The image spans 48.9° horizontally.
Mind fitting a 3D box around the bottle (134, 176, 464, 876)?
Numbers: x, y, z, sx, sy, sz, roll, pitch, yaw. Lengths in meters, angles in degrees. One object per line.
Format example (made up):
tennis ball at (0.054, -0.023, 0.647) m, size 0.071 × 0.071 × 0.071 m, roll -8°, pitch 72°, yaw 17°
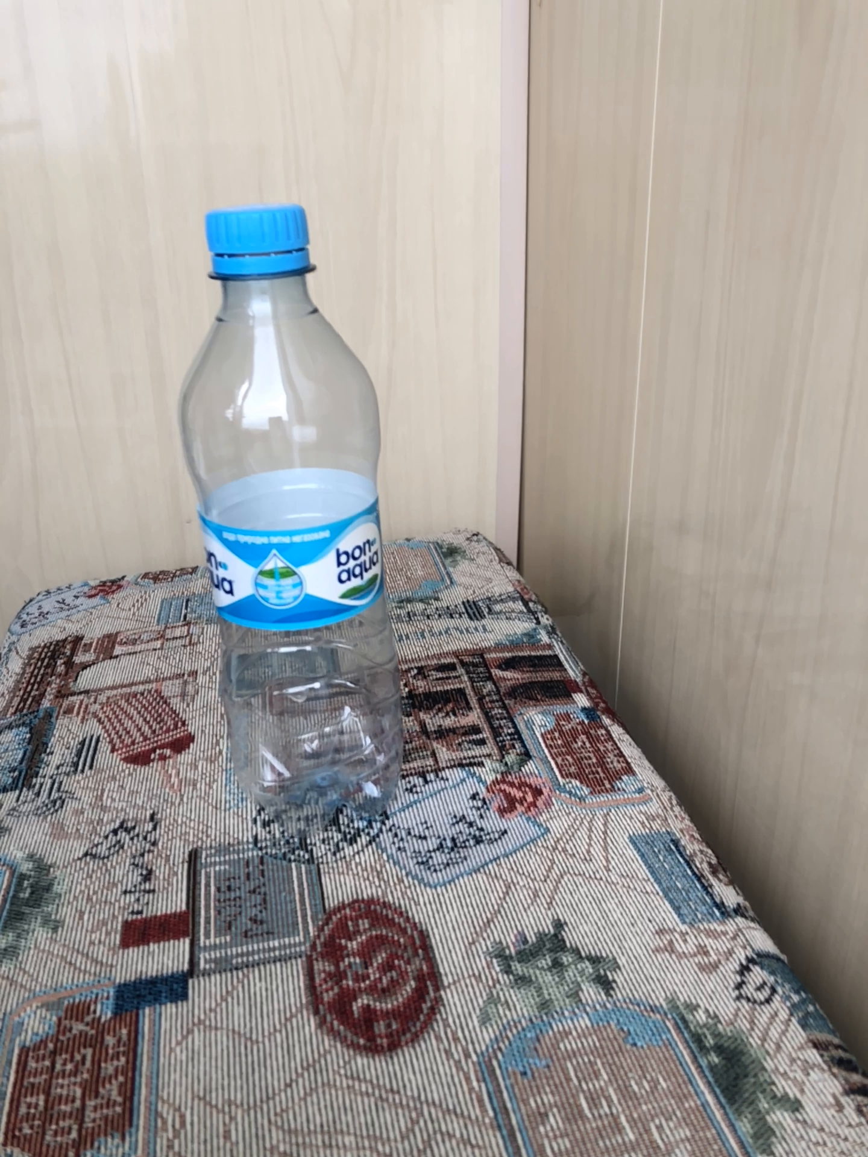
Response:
bottle at (-0.041, -0.020, 0.318) m, size 0.070 × 0.209 × 0.080 m, roll -12°, pitch 26°, yaw -23°
